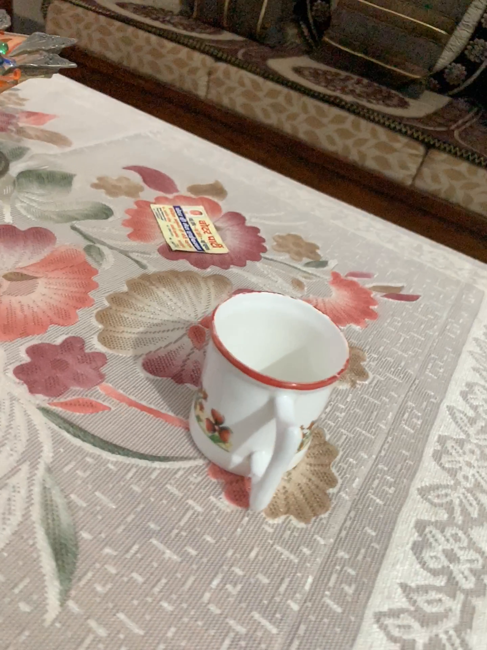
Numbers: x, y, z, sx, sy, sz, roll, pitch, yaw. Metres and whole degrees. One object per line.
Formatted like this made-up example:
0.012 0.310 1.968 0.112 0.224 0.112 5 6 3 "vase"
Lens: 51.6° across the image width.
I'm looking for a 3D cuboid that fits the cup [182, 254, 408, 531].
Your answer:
0.013 0.030 0.242 0.070 0.080 0.100 6 37 -13 "cup"
